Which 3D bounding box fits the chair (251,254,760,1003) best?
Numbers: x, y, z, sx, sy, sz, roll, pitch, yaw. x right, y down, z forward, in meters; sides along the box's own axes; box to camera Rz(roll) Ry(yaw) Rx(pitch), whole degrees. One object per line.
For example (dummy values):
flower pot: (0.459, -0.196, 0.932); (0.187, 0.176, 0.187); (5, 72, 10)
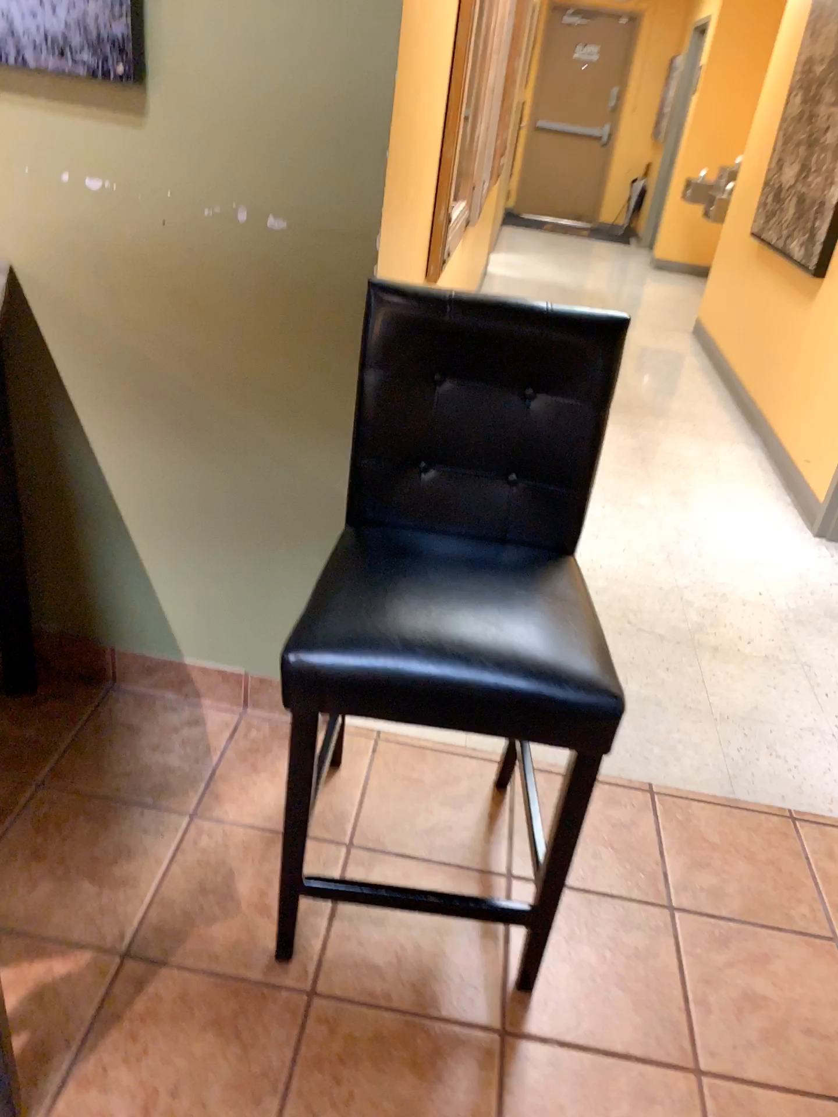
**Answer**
chair: (0.059, 0.098, 1.377); (0.498, 0.961, 0.621); (8, 29, -1)
